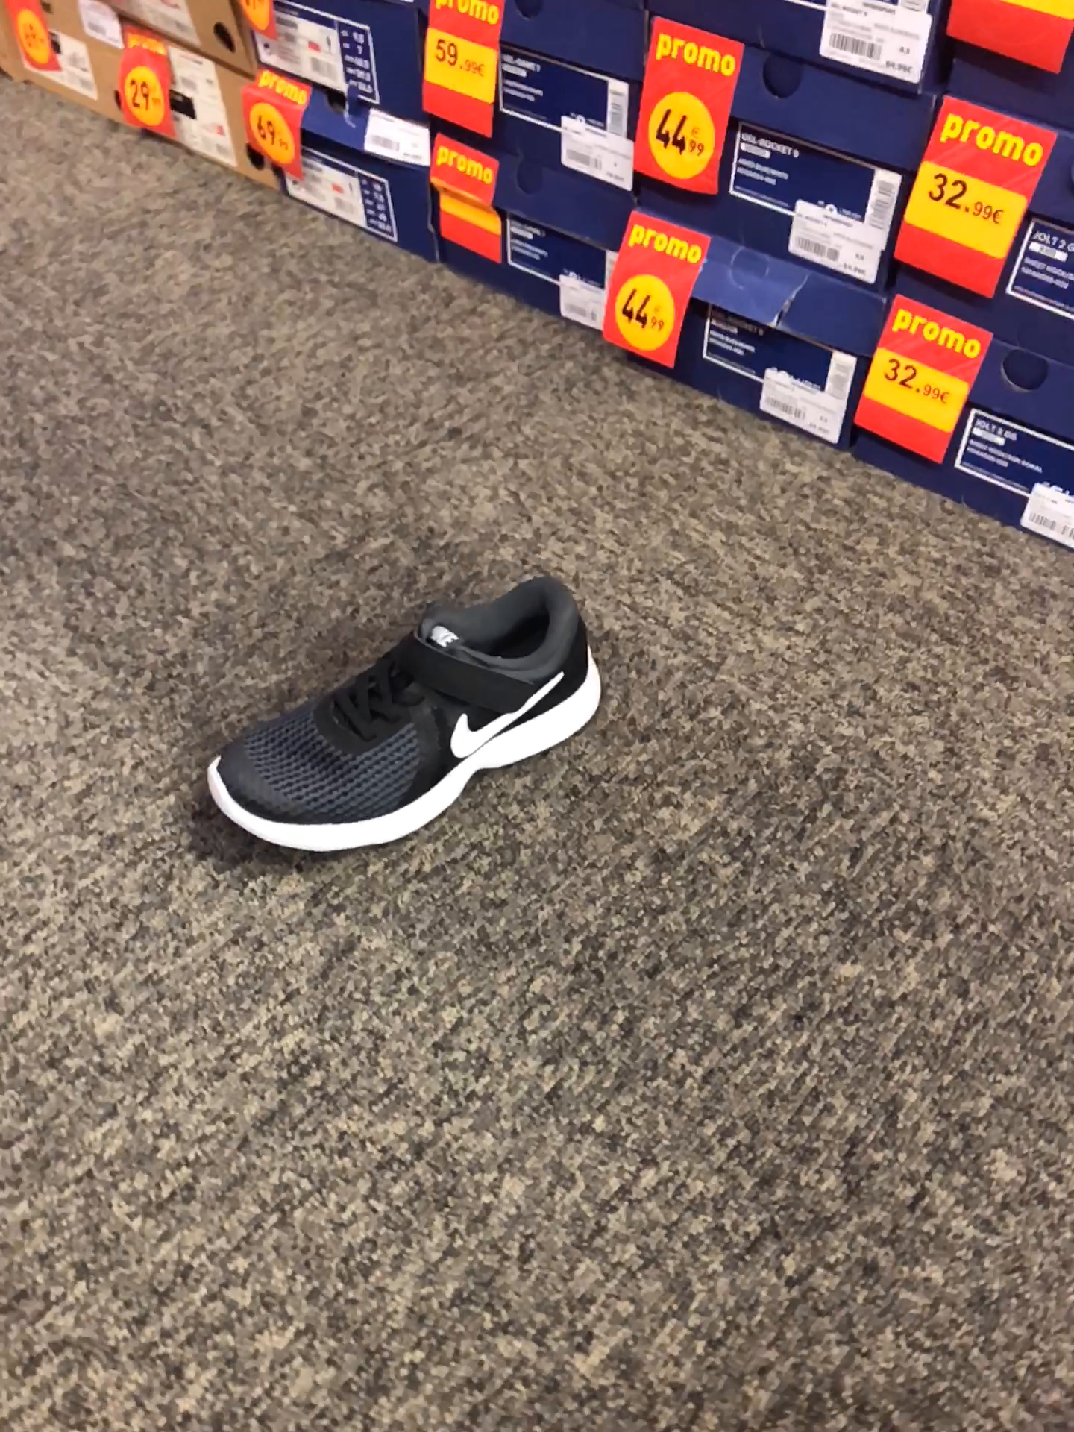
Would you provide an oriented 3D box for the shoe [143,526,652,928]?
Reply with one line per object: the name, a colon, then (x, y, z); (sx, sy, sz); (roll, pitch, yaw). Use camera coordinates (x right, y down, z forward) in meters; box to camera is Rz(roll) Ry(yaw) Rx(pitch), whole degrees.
shoe: (-0.062, -0.001, 0.575); (0.218, 0.080, 0.090); (-25, 52, -21)
